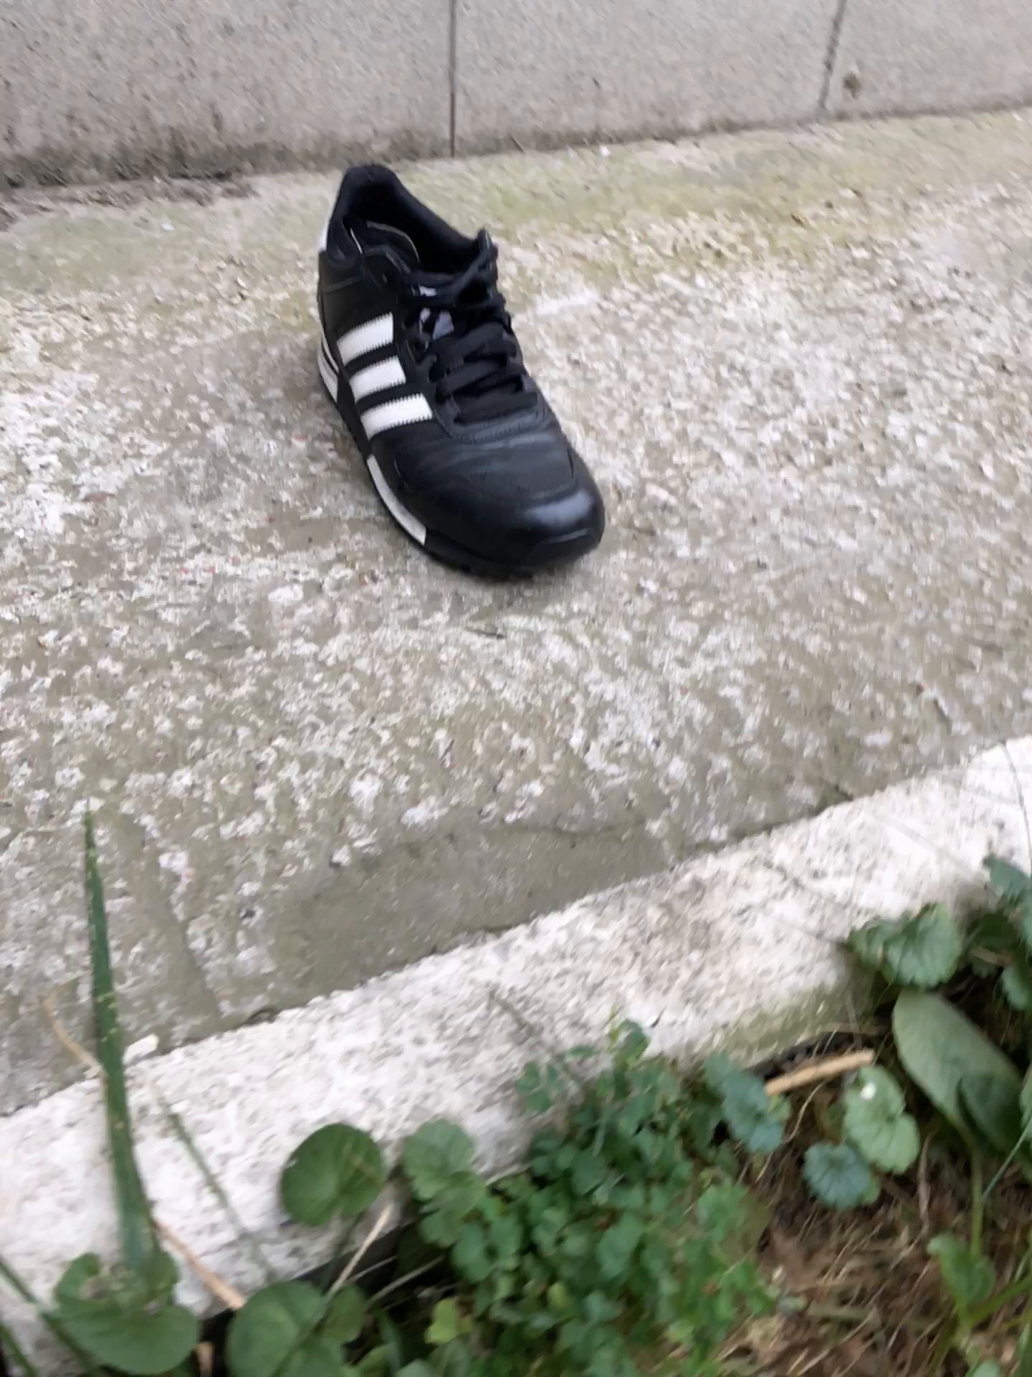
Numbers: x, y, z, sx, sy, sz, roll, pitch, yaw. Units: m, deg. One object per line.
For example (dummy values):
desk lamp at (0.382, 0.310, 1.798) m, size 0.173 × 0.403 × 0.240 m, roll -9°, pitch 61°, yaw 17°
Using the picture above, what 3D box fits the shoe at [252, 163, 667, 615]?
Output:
shoe at (-0.046, -0.178, 0.620) m, size 0.100 × 0.119 × 0.281 m, roll -17°, pitch 45°, yaw -23°
